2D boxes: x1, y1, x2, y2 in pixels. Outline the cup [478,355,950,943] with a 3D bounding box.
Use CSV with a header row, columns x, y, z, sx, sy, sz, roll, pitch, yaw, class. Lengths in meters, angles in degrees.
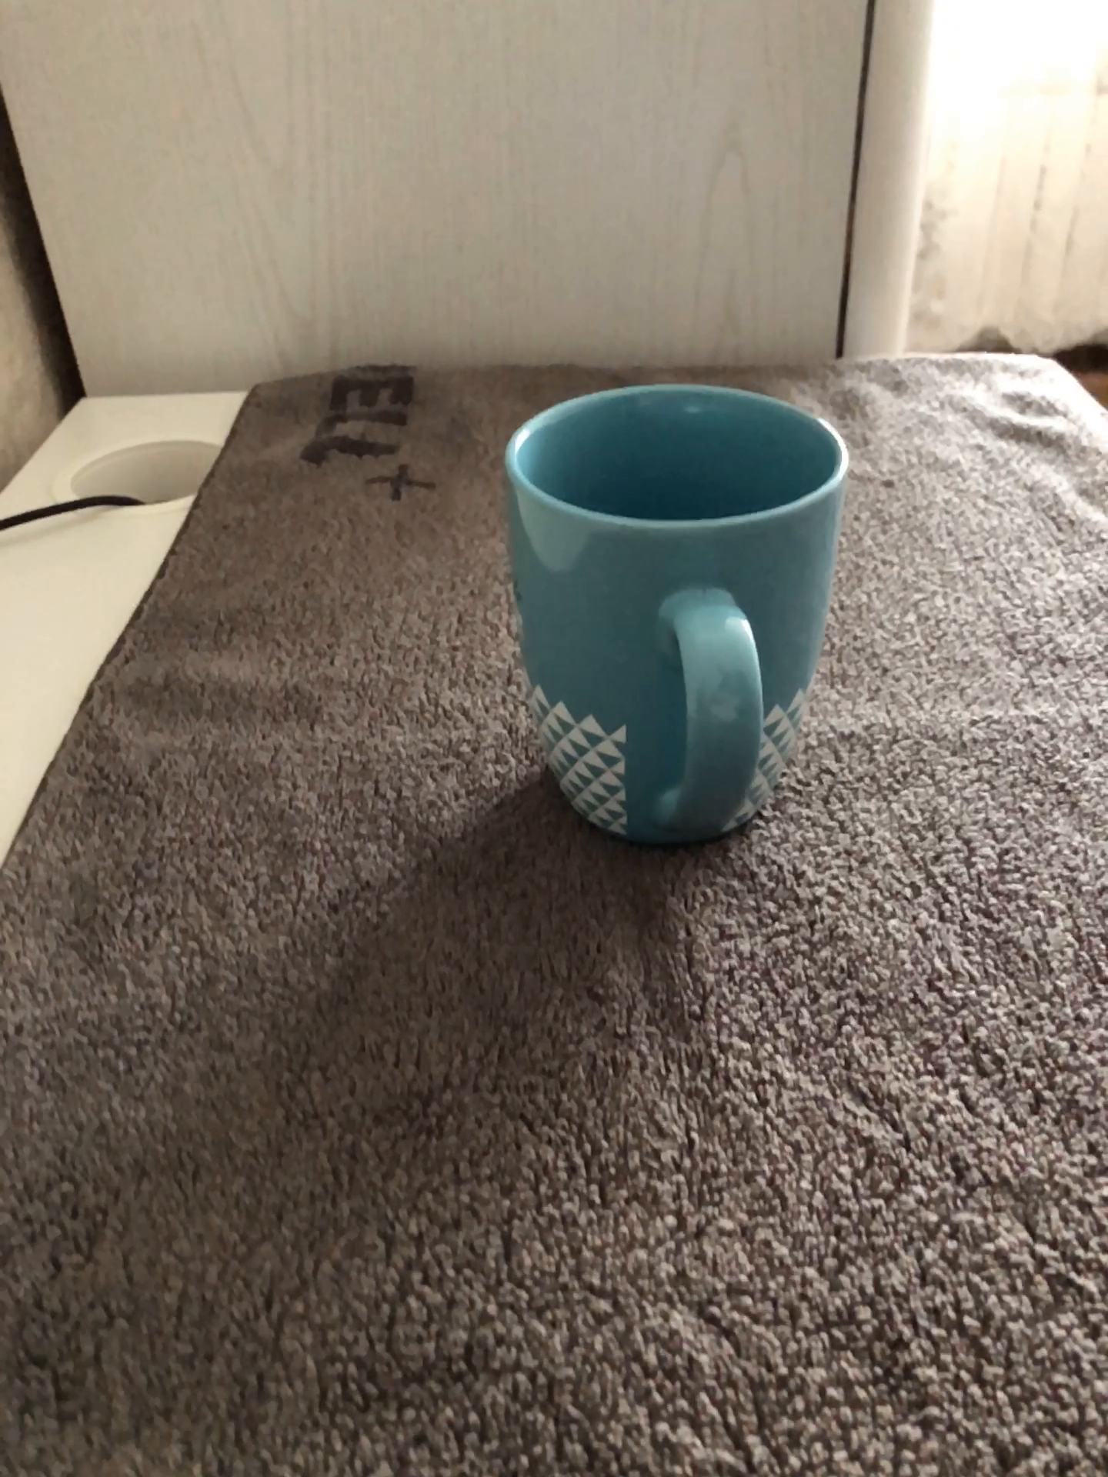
x,y,z,sx,sy,sz,roll,pitch,yaw,class
0.029,-0.029,0.310,0.087,0.089,0.127,-4,36,-3,cup
